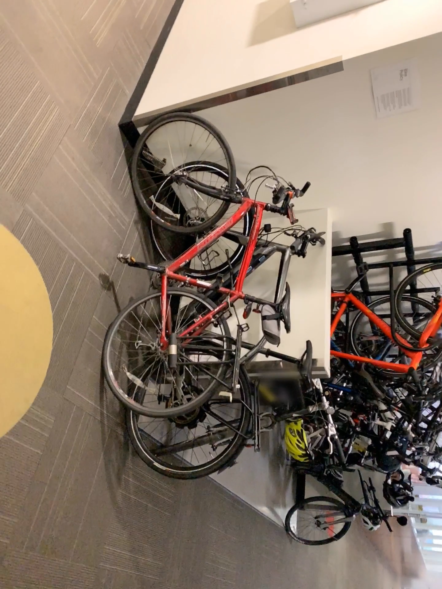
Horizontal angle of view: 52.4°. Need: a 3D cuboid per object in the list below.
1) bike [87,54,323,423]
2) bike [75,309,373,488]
[{"bbox_3d":[-0.025,-0.181,2.372,0.606,0.927,1.611,29,63,-63],"label":"bike"},{"bbox_3d":[0.055,0.576,2.342,0.696,1.149,0.726,31,61,-62],"label":"bike"}]
